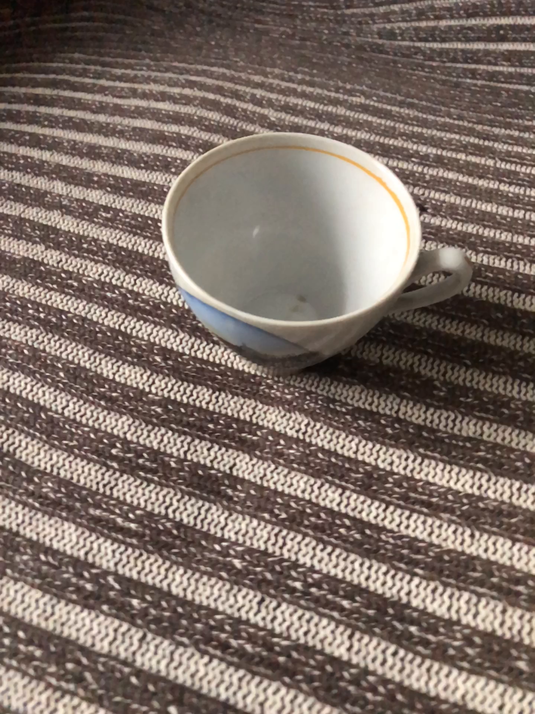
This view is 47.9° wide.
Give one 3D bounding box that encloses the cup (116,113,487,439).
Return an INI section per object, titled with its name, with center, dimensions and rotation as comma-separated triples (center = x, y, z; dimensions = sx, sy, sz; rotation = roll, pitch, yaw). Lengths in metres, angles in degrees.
[cup]
center = 0.011, -0.022, 0.163
dimensions = 0.079, 0.042, 0.061
rotation = 12, 61, 5
